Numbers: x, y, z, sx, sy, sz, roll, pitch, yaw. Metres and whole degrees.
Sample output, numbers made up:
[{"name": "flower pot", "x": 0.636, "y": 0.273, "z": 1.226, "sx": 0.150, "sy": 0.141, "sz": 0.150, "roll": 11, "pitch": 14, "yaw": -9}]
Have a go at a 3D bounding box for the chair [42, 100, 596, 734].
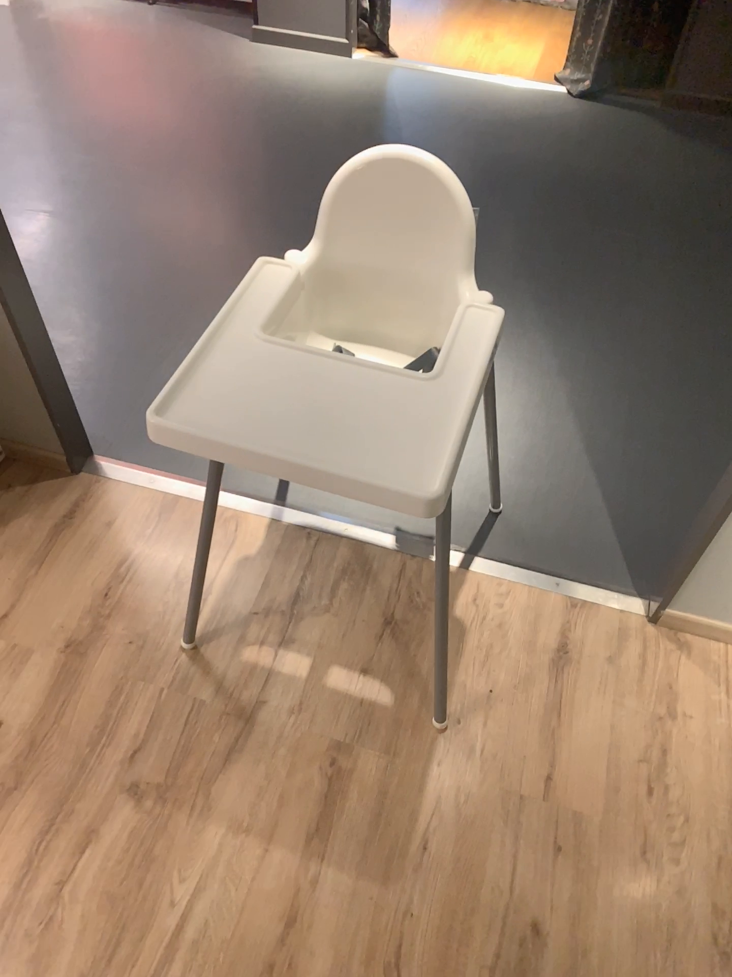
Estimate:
[{"name": "chair", "x": -0.022, "y": -0.093, "z": 1.309, "sx": 0.570, "sy": 0.798, "sz": 0.622, "roll": 14, "pitch": 52, "yaw": 9}]
